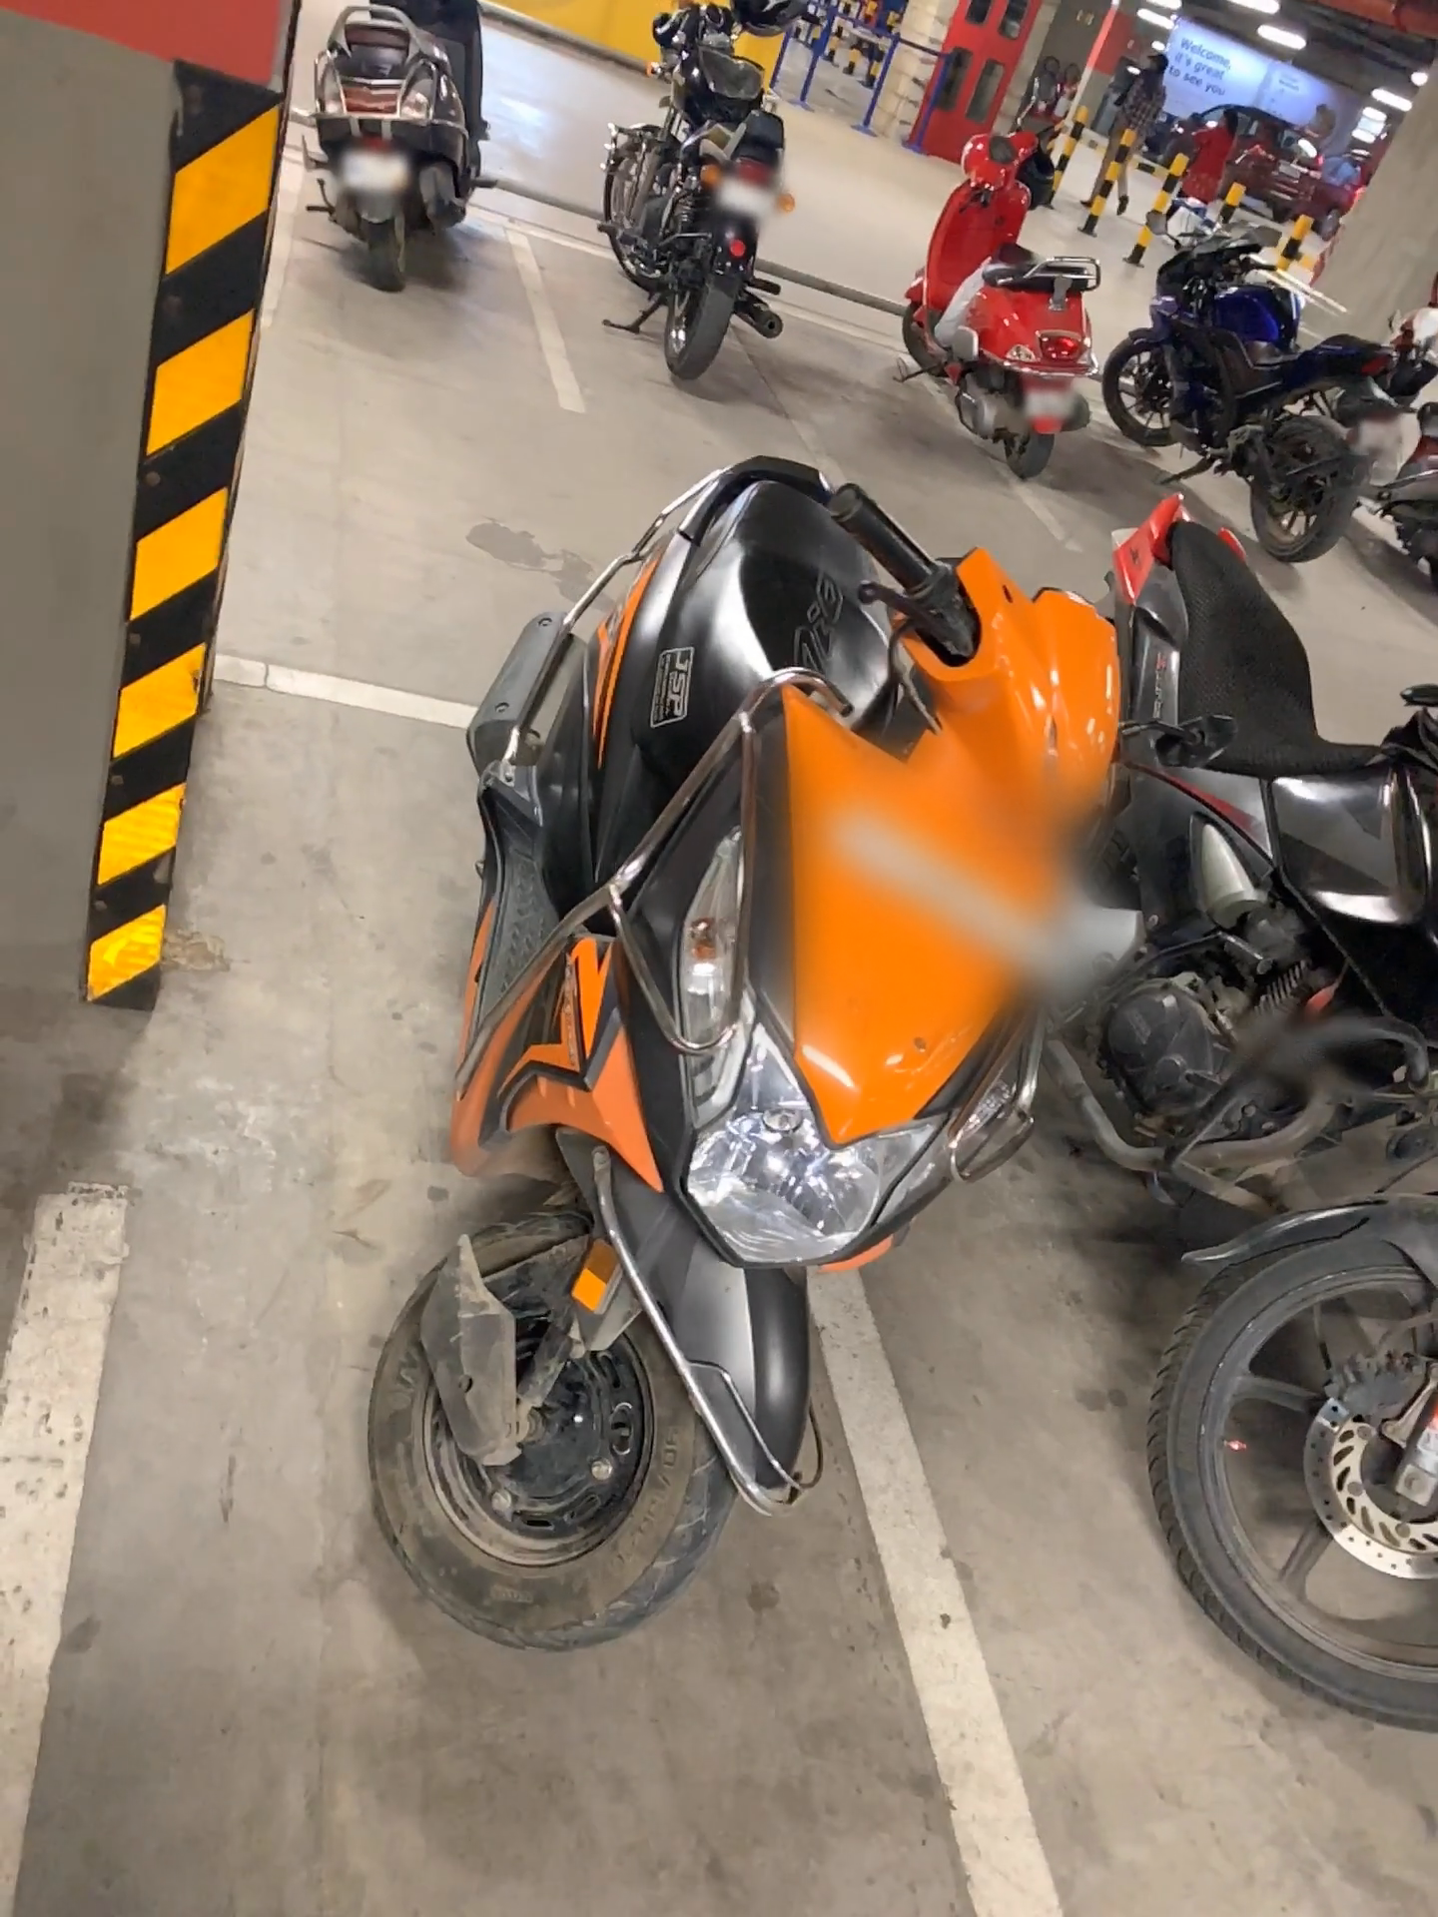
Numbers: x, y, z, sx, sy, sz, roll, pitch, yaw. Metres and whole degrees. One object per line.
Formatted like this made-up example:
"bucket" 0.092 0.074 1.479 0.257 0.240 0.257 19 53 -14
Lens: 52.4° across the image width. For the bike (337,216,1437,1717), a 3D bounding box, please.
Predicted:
"bike" 0.124 -0.108 1.925 0.725 1.172 1.612 14 34 -12
